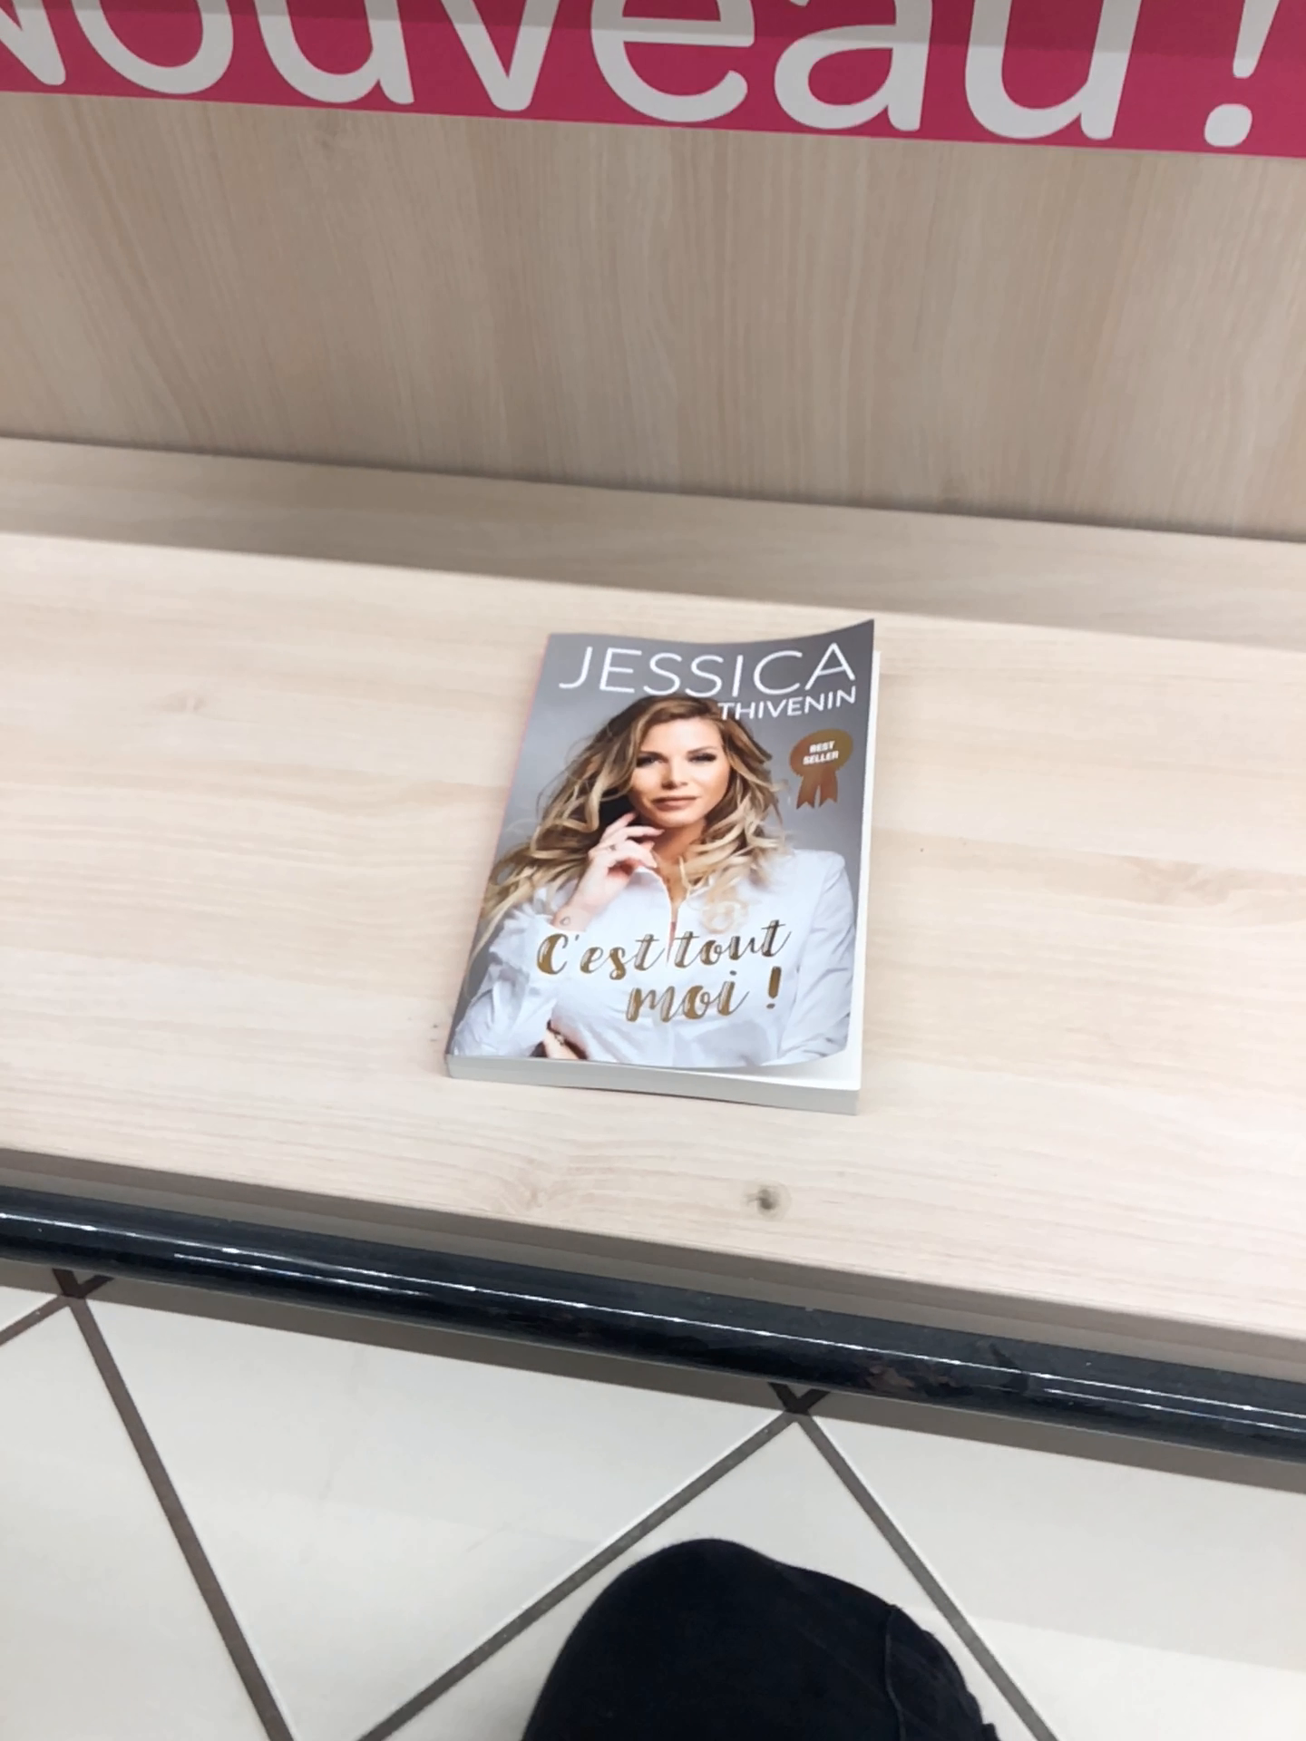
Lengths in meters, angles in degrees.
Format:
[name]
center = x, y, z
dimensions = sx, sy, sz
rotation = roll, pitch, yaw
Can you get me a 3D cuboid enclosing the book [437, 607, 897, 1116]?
[book]
center = 0.015, -0.015, 0.539
dimensions = 0.146, 0.020, 0.213
rotation = 5, 53, 6
